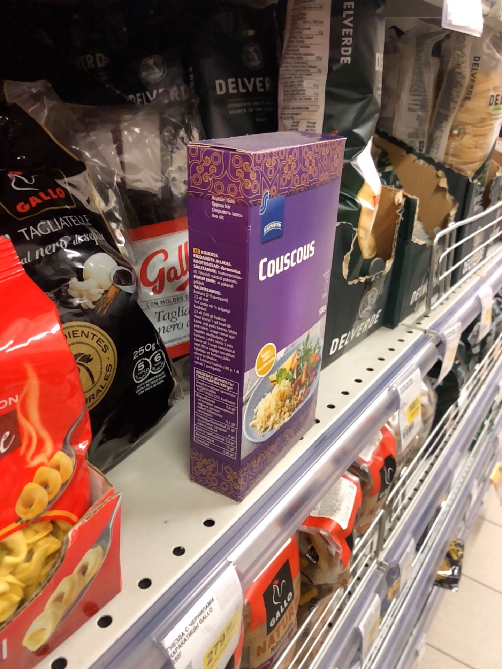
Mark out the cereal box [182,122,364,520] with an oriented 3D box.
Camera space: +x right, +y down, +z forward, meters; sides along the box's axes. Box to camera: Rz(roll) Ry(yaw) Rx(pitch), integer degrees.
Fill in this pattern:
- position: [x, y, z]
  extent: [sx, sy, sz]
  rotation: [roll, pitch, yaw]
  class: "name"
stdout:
- position: [0.011, -0.012, 0.317]
  extent: [0.040, 0.199, 0.110]
  rotation: [17, 28, 29]
  class: "cereal box"
